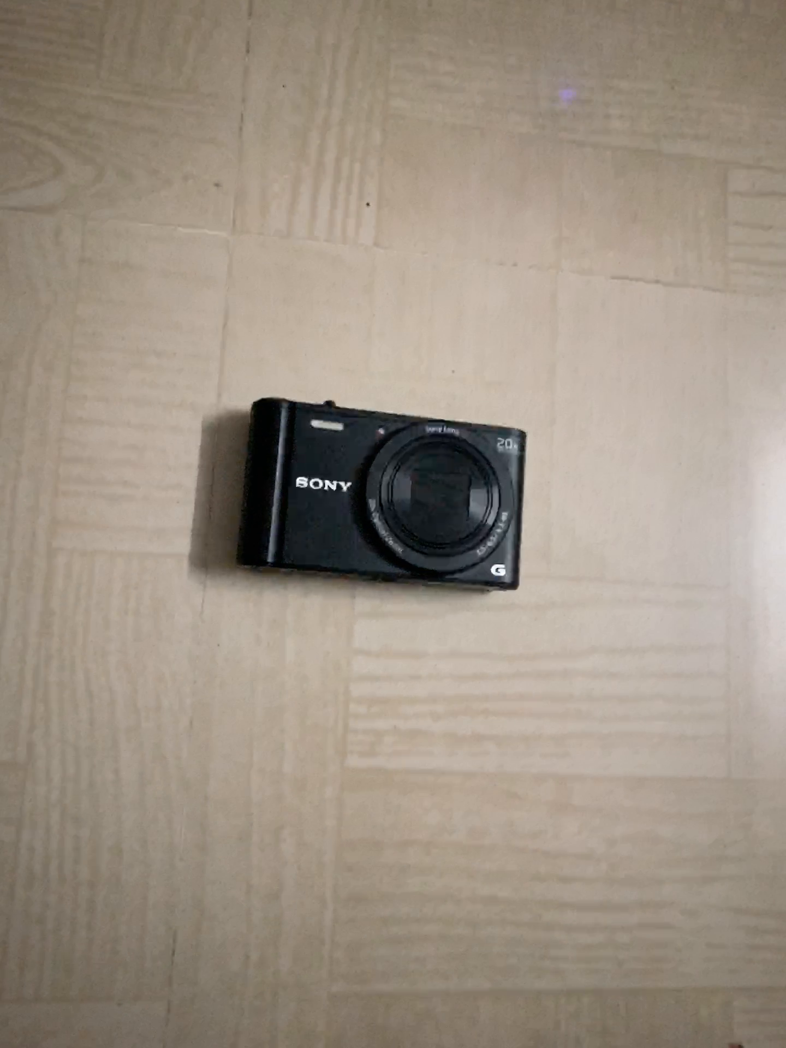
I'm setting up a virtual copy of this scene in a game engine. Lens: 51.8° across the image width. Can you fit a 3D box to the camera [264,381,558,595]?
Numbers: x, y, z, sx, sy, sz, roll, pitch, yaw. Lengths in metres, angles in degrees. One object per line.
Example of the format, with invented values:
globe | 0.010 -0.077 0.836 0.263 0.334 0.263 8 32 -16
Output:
camera | 0.006 -0.010 0.275 0.092 0.025 0.060 6 83 -7
